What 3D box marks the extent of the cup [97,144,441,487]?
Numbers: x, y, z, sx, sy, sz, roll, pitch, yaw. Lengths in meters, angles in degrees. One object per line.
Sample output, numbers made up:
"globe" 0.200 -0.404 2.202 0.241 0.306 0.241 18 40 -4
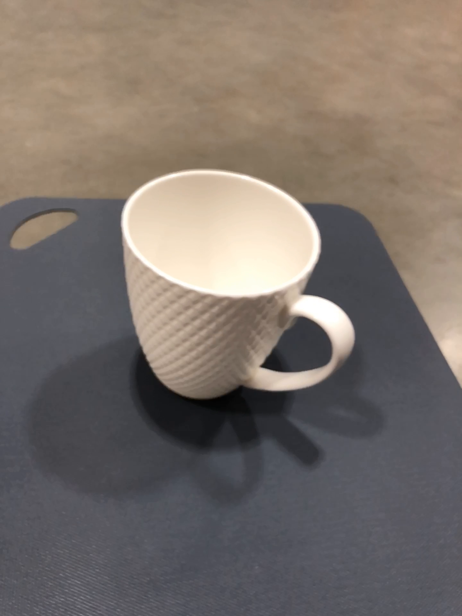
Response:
"cup" 0.012 -0.003 0.269 0.130 0.090 0.090 35 49 22
